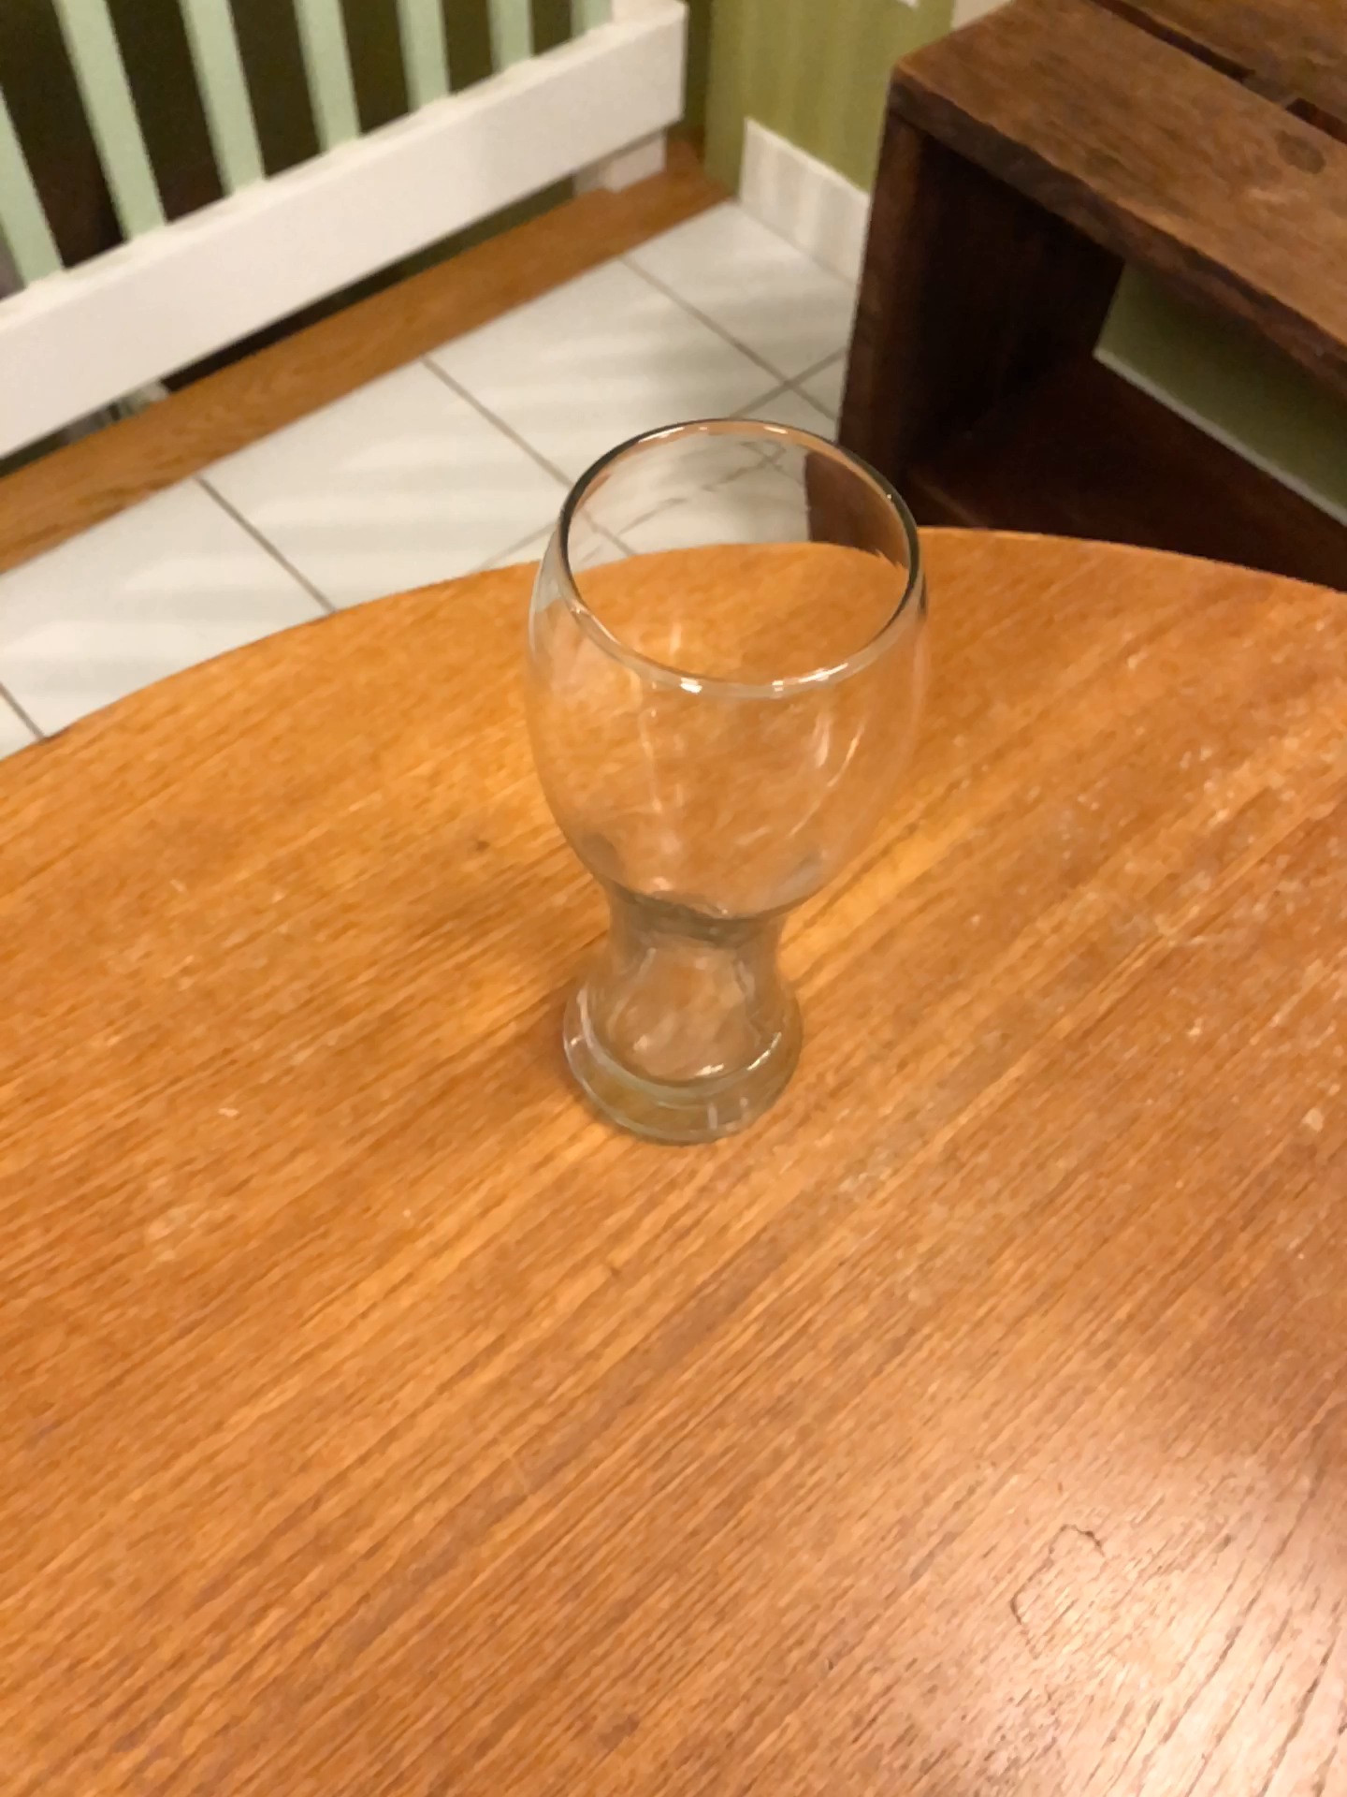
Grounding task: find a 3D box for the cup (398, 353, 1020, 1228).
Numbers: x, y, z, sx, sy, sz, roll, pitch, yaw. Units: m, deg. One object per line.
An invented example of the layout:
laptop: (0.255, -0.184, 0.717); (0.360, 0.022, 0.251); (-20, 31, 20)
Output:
cup: (0.005, -0.010, 0.395); (0.093, 0.222, 0.088); (1, 58, -2)
